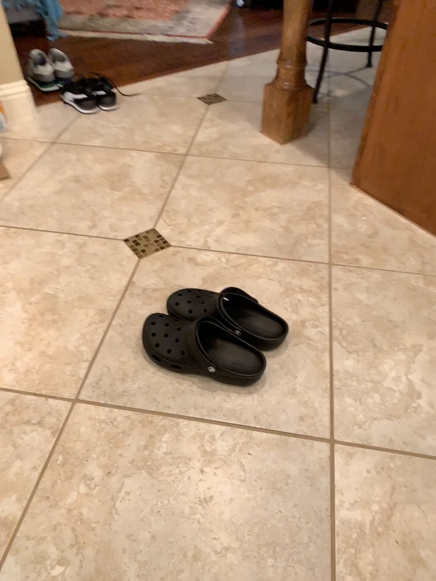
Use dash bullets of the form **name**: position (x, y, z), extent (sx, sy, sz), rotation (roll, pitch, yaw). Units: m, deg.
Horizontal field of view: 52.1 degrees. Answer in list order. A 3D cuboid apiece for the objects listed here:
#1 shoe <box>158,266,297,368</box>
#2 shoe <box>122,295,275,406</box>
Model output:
- **shoe**: position (0.020, 0.054, 0.988), extent (0.278, 0.085, 0.114), rotation (20, 48, 19)
- **shoe**: position (-0.039, 0.117, 0.920), extent (0.278, 0.085, 0.124), rotation (16, 47, 17)
